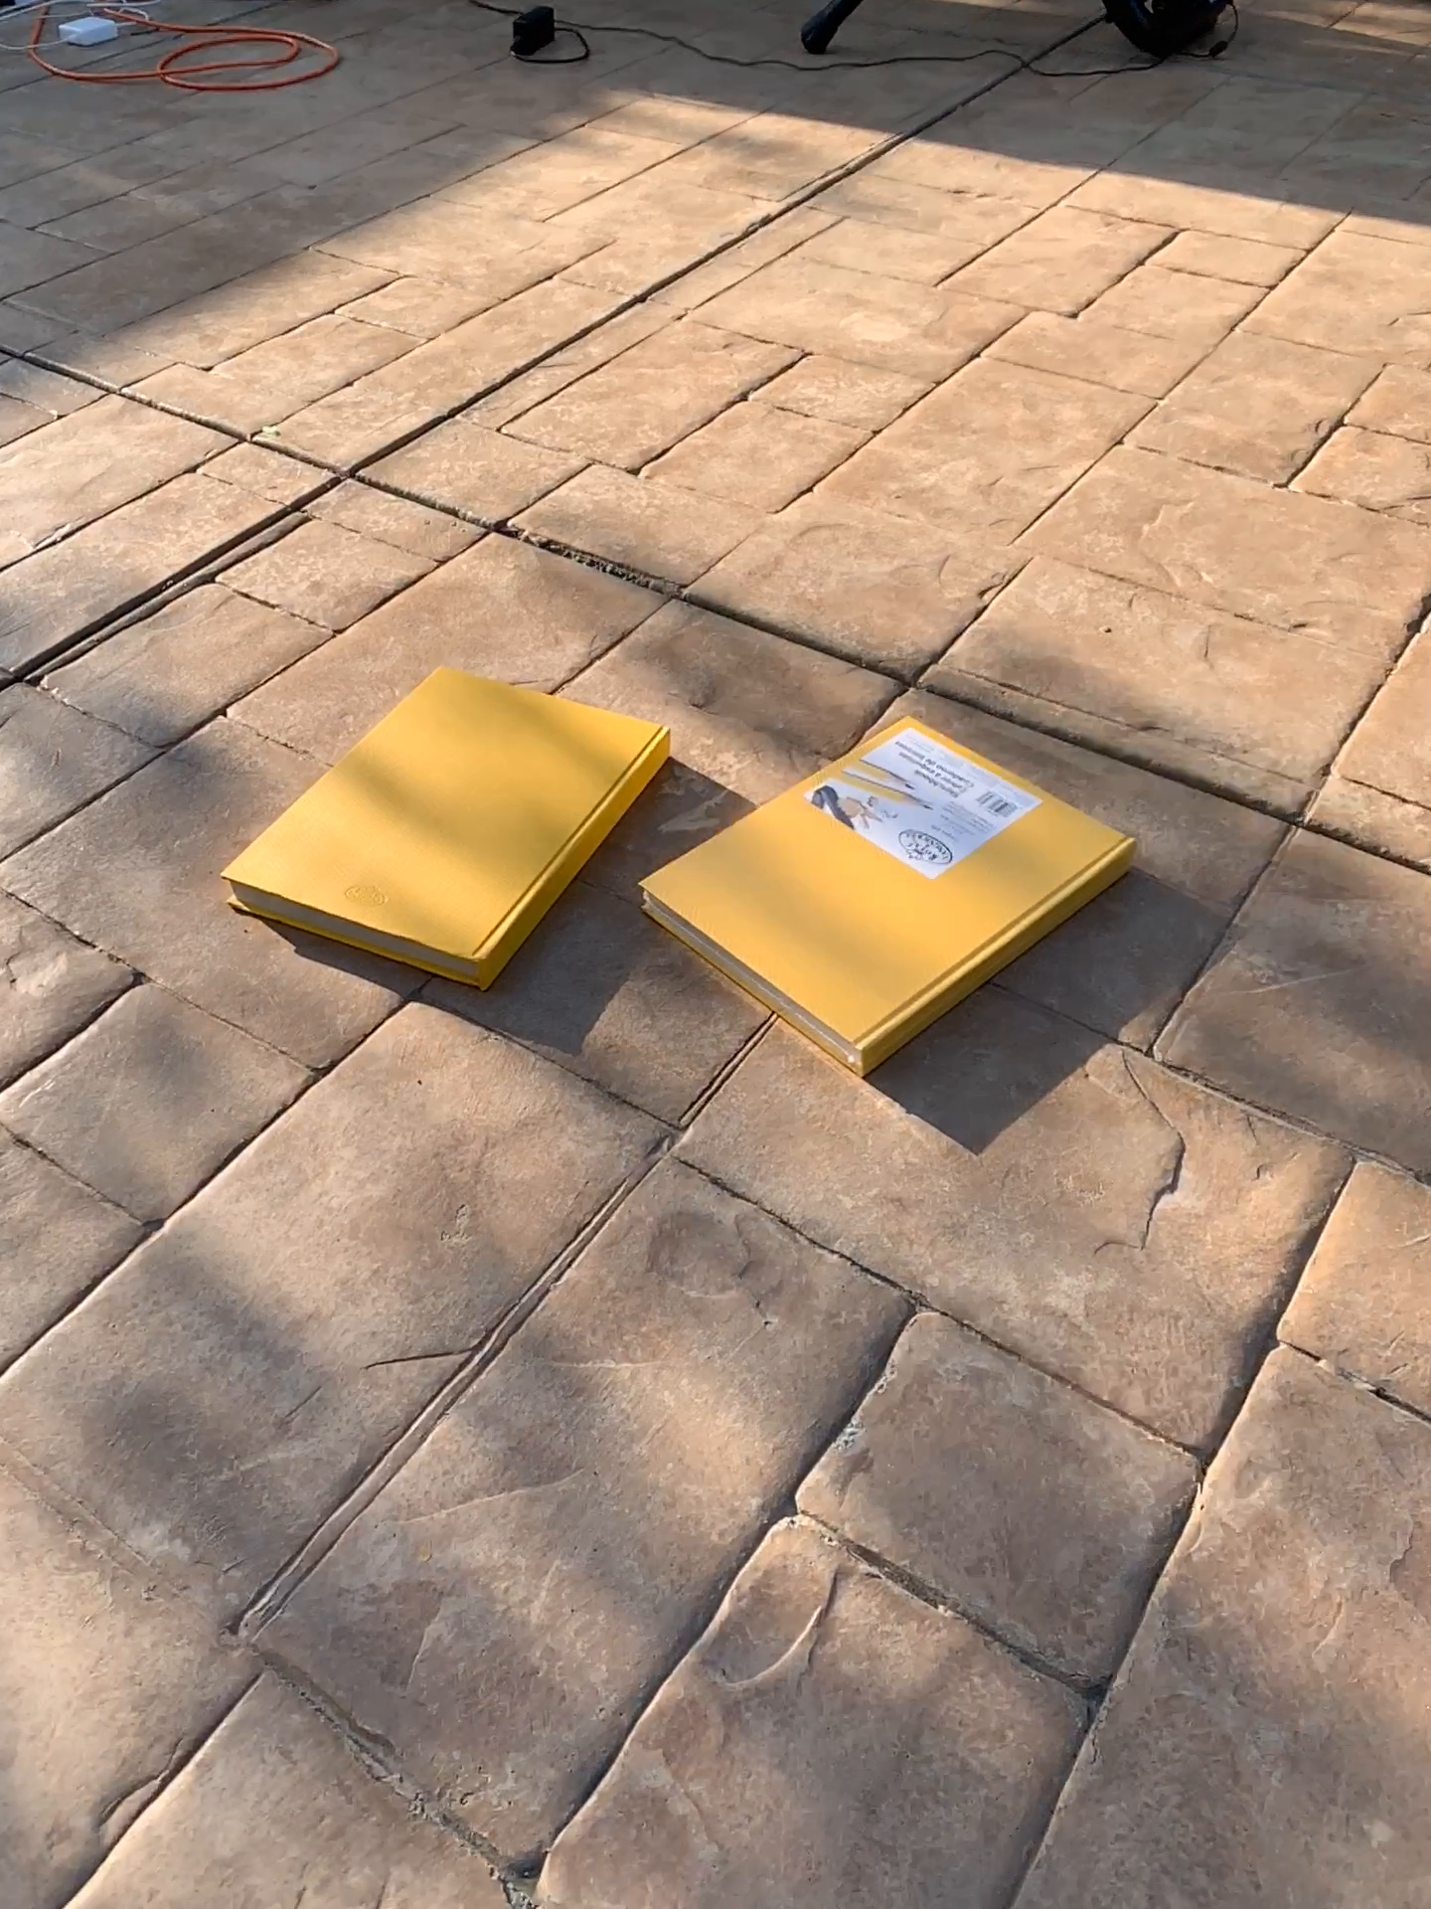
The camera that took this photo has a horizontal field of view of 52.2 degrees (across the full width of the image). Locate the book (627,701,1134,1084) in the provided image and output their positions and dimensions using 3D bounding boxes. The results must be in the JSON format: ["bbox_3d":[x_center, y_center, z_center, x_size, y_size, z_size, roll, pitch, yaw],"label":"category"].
[{"bbox_3d":[0.115,-0.057,1.018,0.273,0.030,0.221,-36,53,-26],"label":"book"}]

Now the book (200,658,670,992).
[{"bbox_3d":[-0.197,-0.110,1.084,0.220,0.030,0.289,17,47,19],"label":"book"}]
